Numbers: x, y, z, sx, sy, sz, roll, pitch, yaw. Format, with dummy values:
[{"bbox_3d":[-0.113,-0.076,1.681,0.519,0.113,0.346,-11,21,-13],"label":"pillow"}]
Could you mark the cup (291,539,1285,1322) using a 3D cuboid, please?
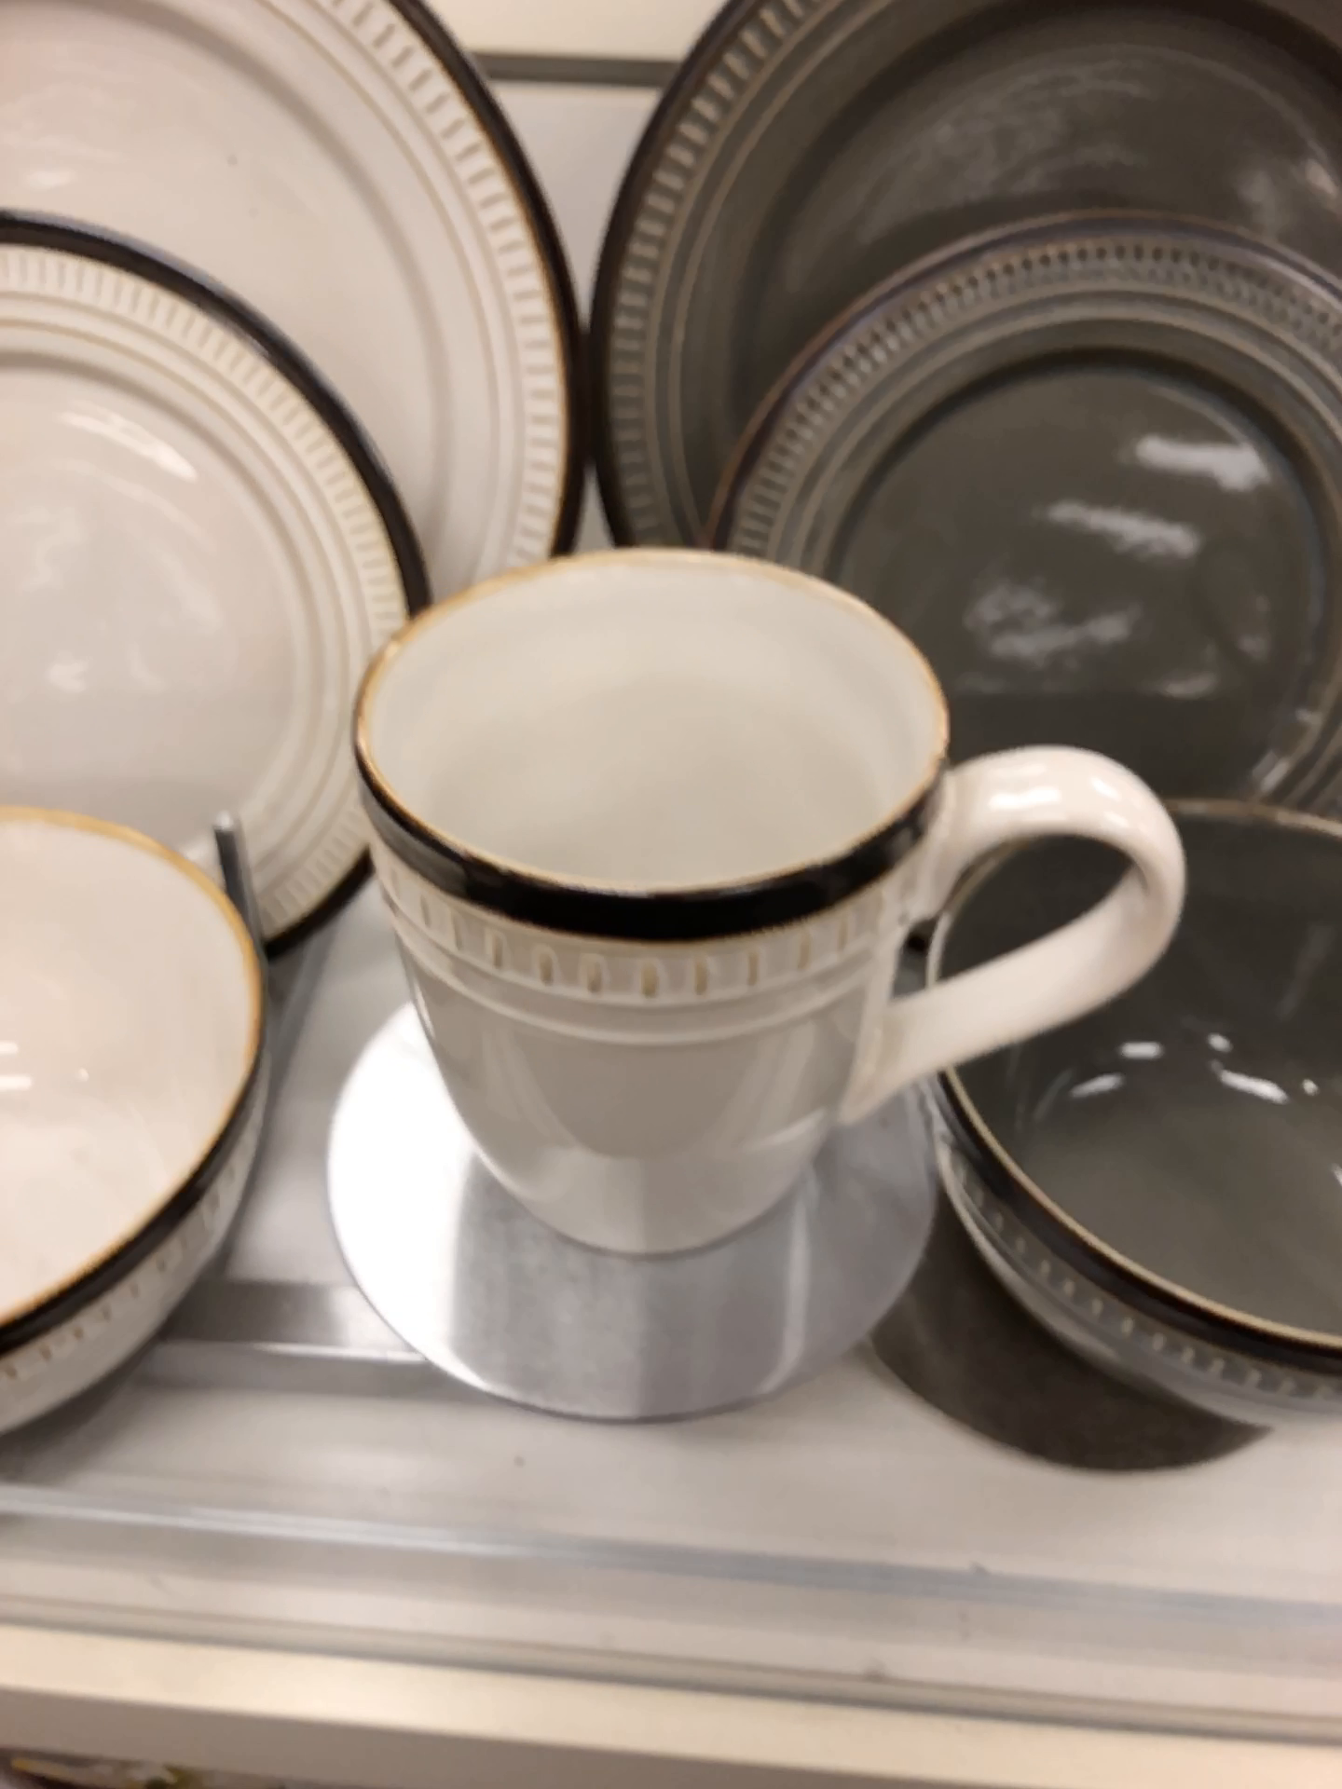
[{"bbox_3d":[0.014,0.006,0.261,0.128,0.097,0.092,1,42,-1],"label":"cup"}]
